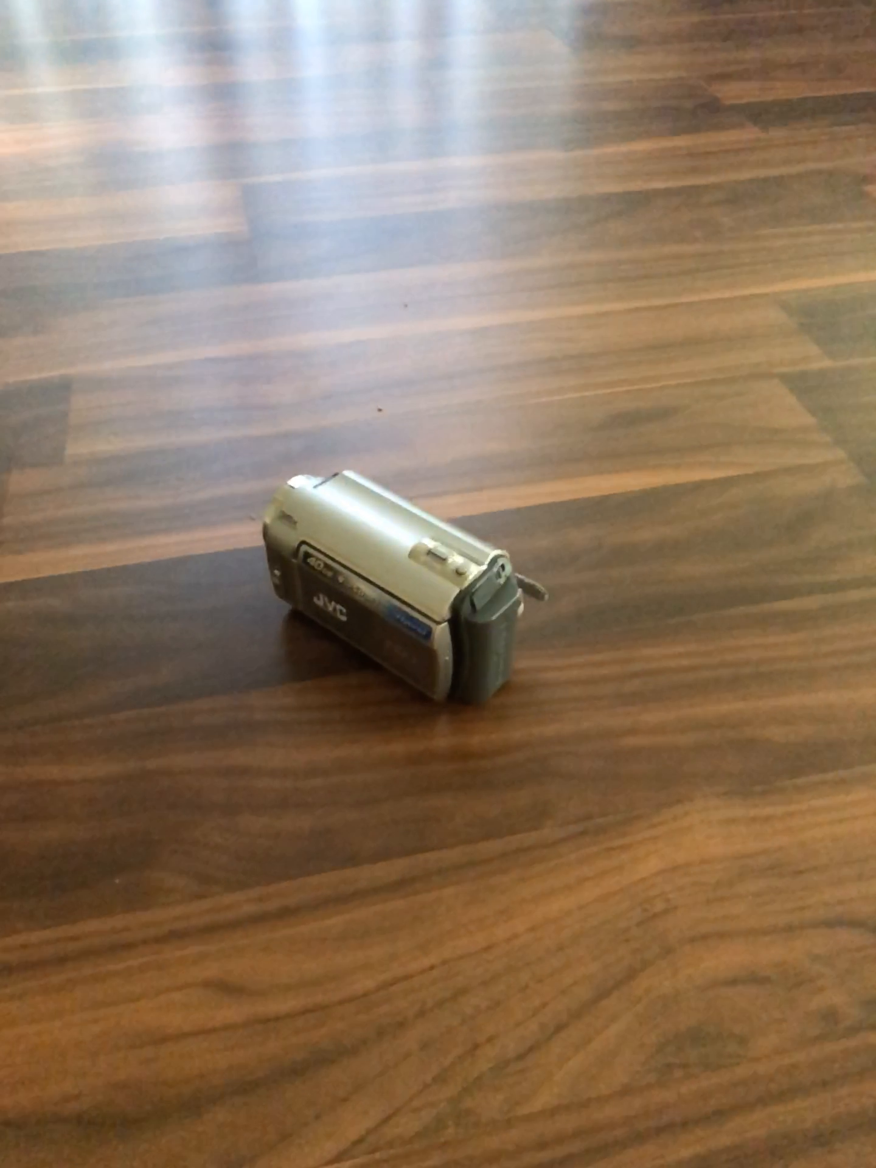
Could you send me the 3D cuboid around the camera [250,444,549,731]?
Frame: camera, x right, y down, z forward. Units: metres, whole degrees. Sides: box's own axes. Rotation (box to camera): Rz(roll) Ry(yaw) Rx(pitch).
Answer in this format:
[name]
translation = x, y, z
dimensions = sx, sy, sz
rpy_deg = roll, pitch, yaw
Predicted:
[camera]
translation = -0.018, -0.002, 0.432
dimensions = 0.120, 0.060, 0.060
rpy_deg = 31, 52, 30
